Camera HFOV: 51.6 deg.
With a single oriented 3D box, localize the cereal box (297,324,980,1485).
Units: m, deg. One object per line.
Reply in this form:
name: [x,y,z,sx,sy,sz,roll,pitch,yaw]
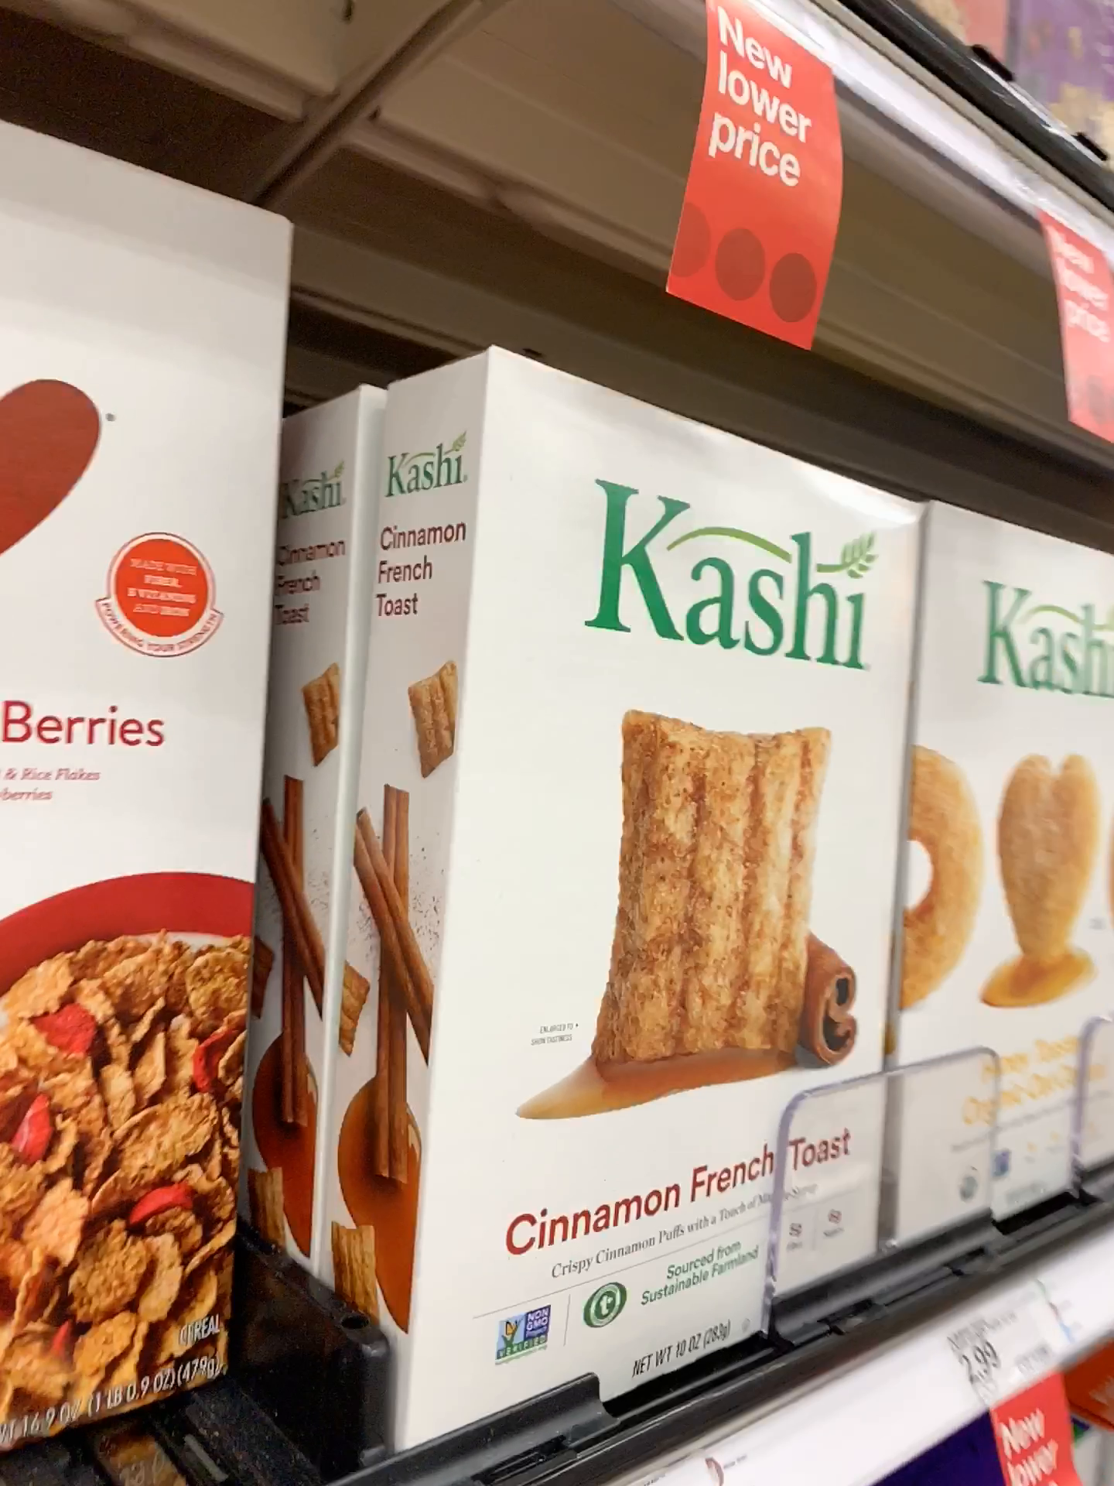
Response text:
cereal box: [0.039,0.042,0.353,0.210,0.270,0.060,4,-1,-40]
